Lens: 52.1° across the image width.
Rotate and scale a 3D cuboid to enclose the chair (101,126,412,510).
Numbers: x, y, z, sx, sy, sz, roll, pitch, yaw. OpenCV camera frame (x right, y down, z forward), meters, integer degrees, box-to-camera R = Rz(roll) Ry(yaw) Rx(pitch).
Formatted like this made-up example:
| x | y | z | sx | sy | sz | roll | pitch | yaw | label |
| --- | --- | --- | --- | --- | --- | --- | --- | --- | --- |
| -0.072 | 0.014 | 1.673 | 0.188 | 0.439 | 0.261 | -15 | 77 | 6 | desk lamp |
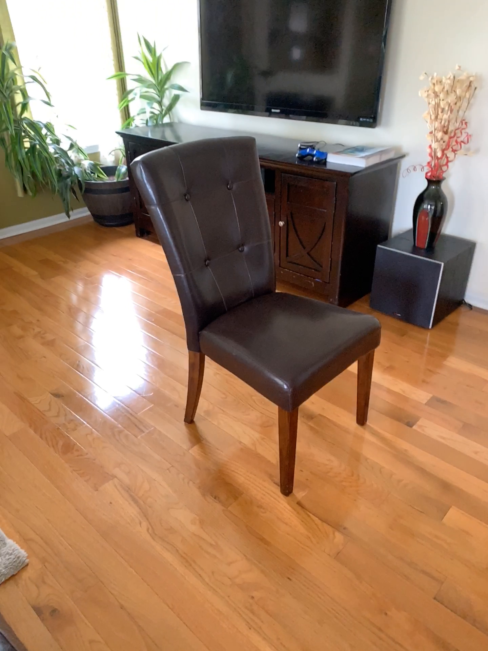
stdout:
| x | y | z | sx | sy | sz | roll | pitch | yaw | label |
| --- | --- | --- | --- | --- | --- | --- | --- | --- | --- |
| 0.029 | -0.083 | 1.680 | 0.724 | 0.977 | 0.540 | 24 | 38 | 37 | chair |
